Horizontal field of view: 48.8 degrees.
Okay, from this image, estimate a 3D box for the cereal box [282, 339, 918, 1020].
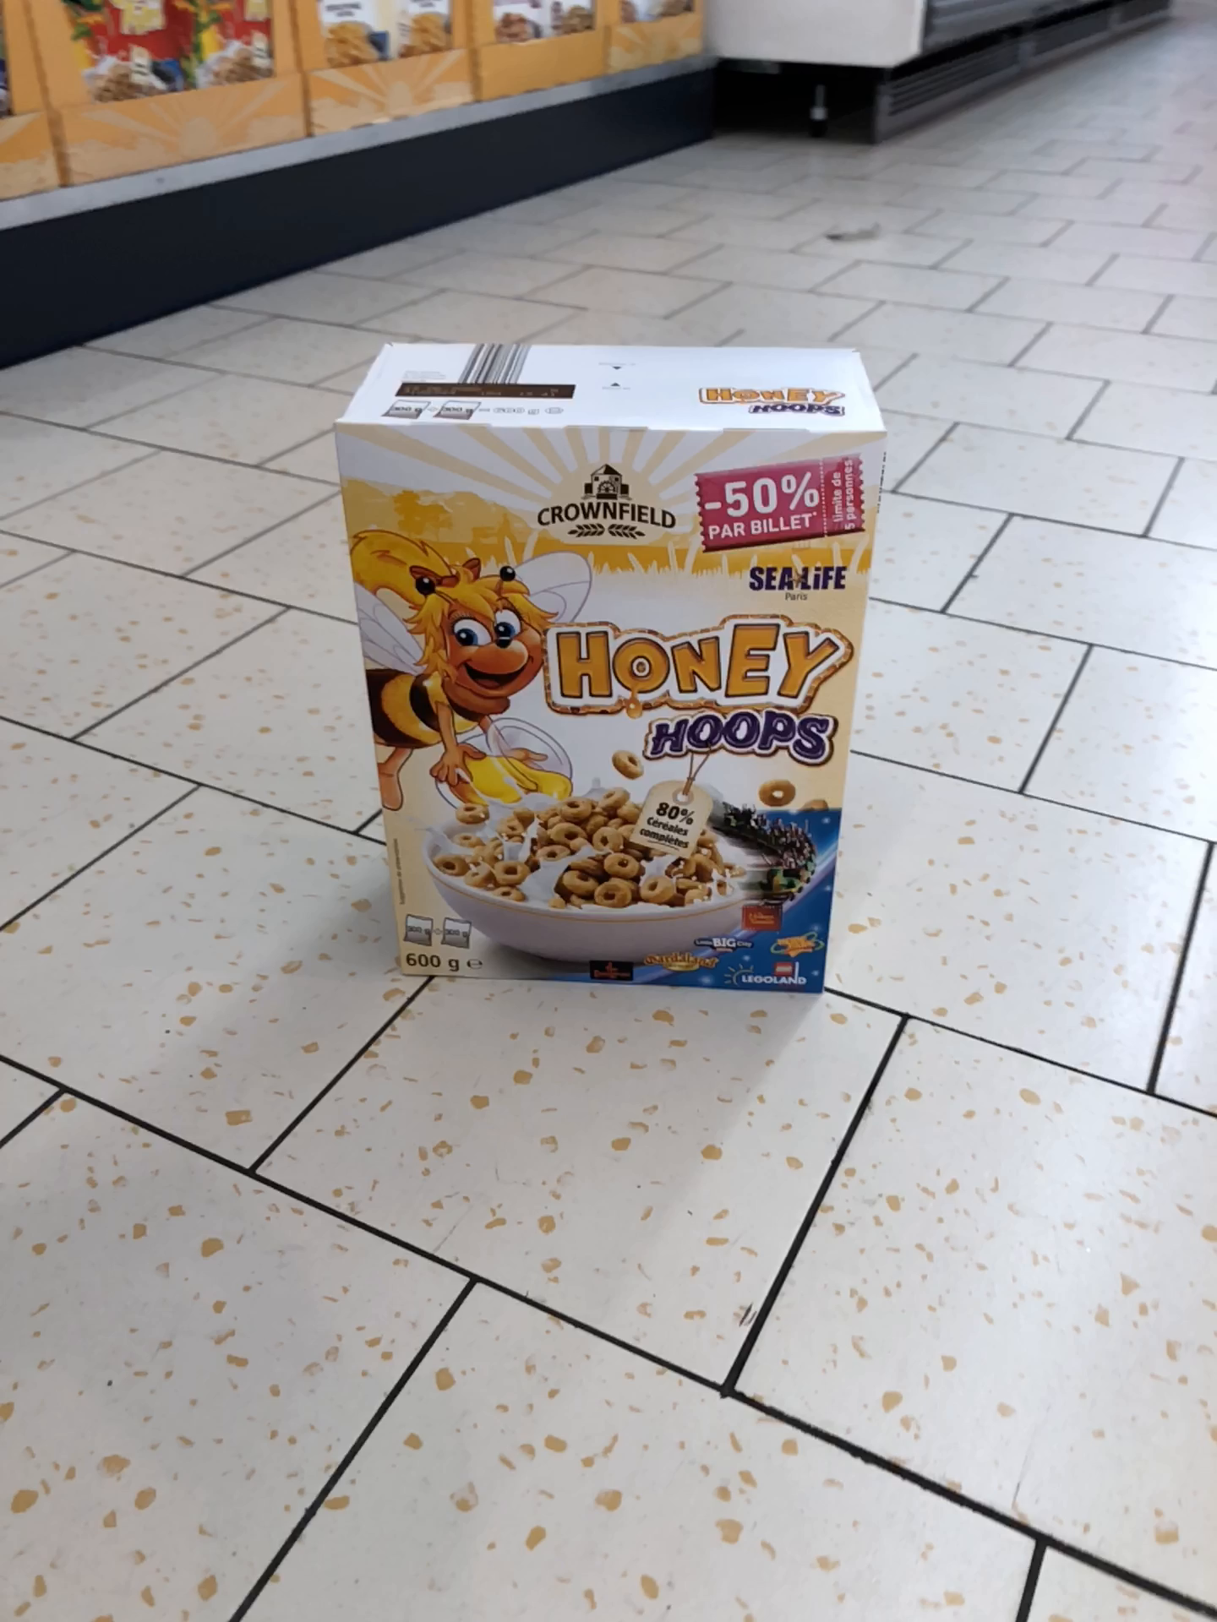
[{"bbox_3d":[0.000,-0.051,0.555,0.210,0.248,0.111,3,33,4],"label":"cereal box"}]
